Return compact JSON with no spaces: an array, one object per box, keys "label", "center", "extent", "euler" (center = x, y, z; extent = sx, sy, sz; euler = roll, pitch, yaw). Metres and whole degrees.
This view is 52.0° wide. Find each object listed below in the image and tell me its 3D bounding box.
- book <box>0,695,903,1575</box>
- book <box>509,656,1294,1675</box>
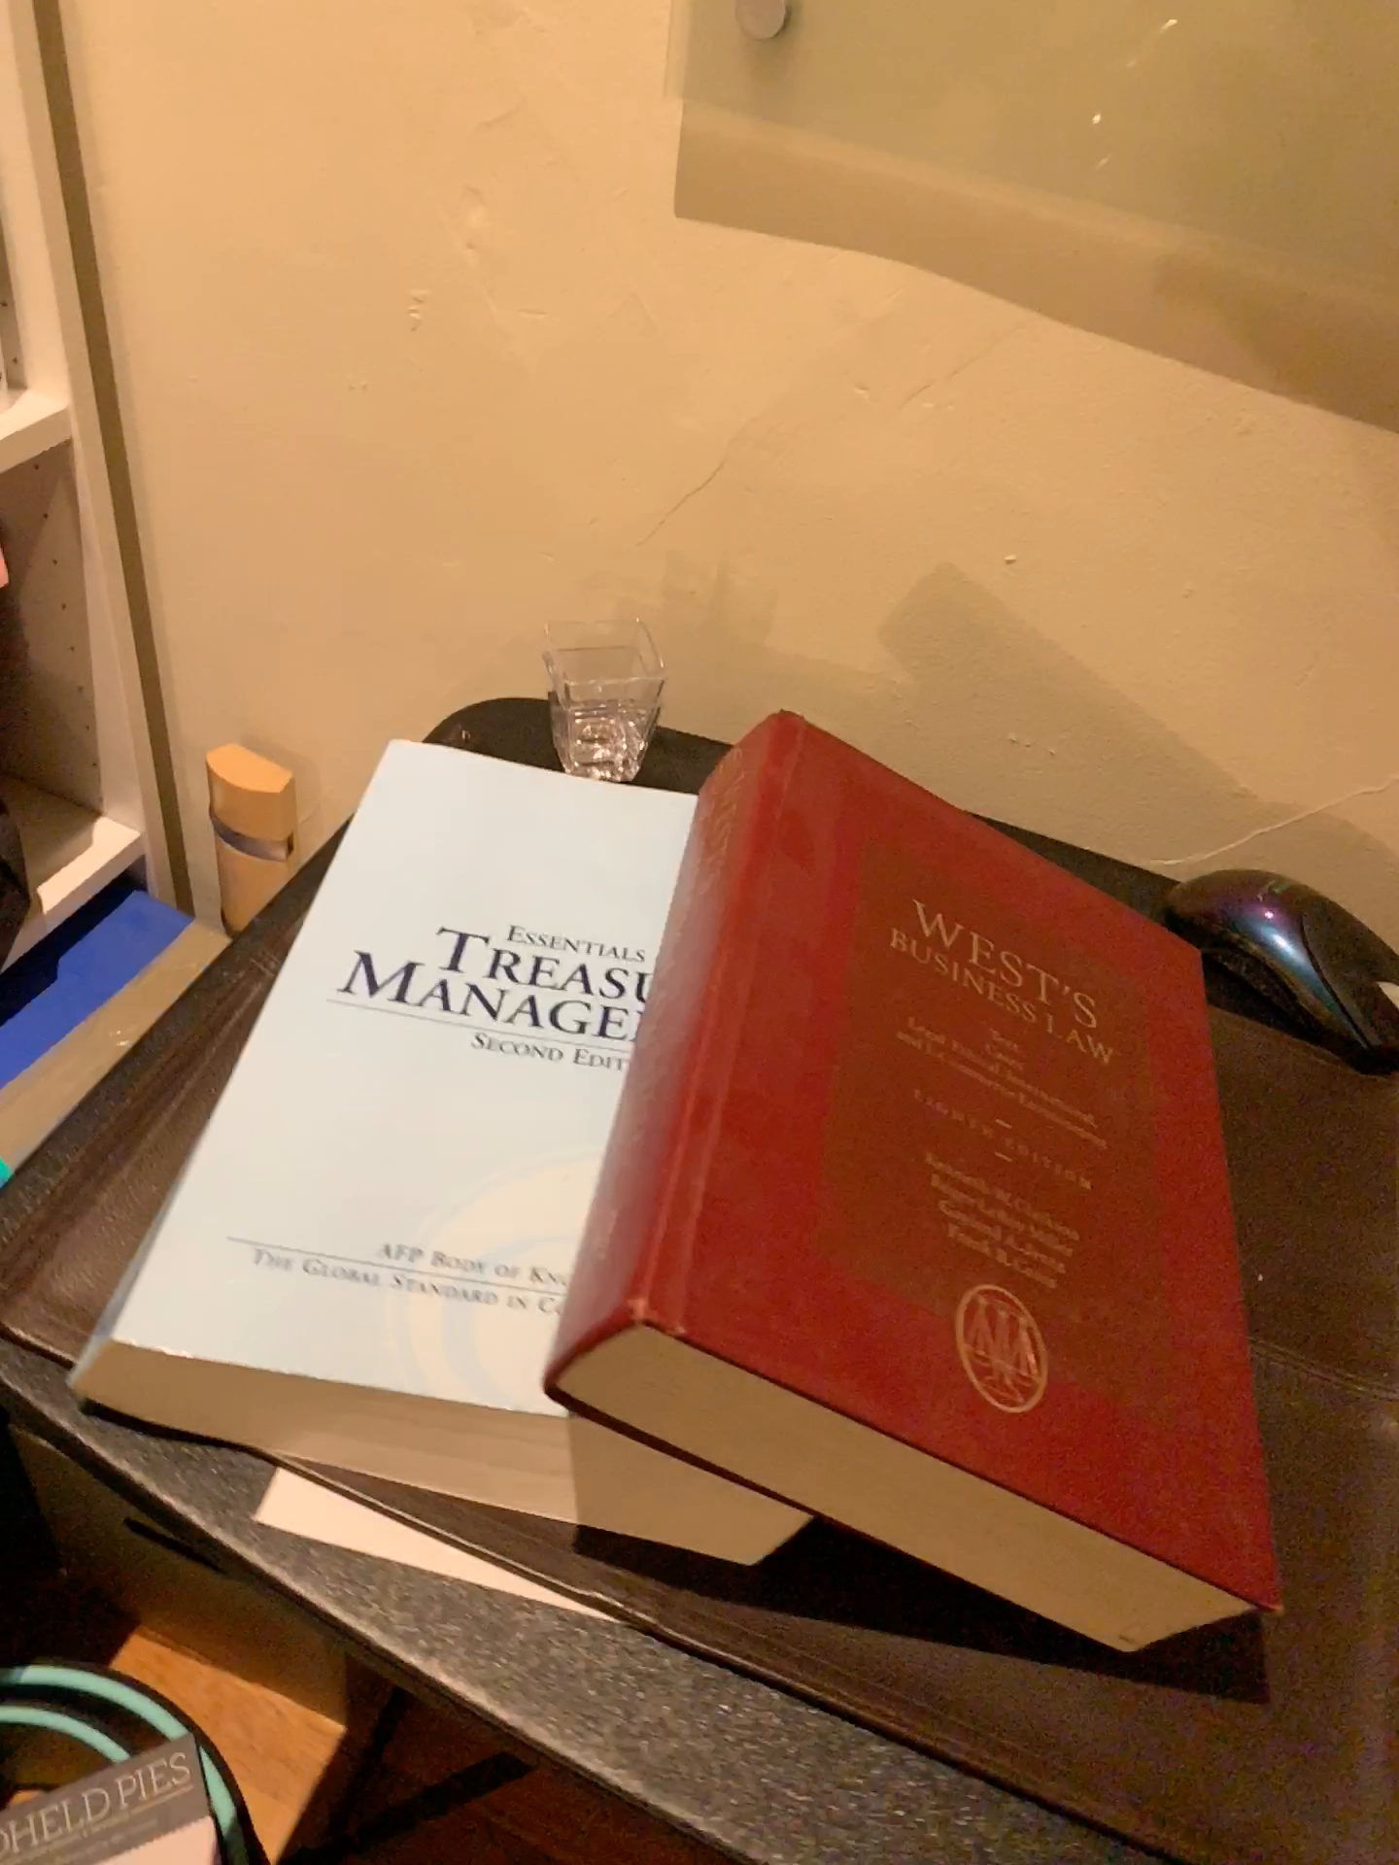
[{"label":"book","center":[-0.055,0.045,0.487],"extent":[0.220,0.070,0.272],"euler":[12,44,2]},{"label":"book","center":[0.075,0.056,0.462],"extent":[0.210,0.050,0.272],"euler":[29,41,-15]}]
